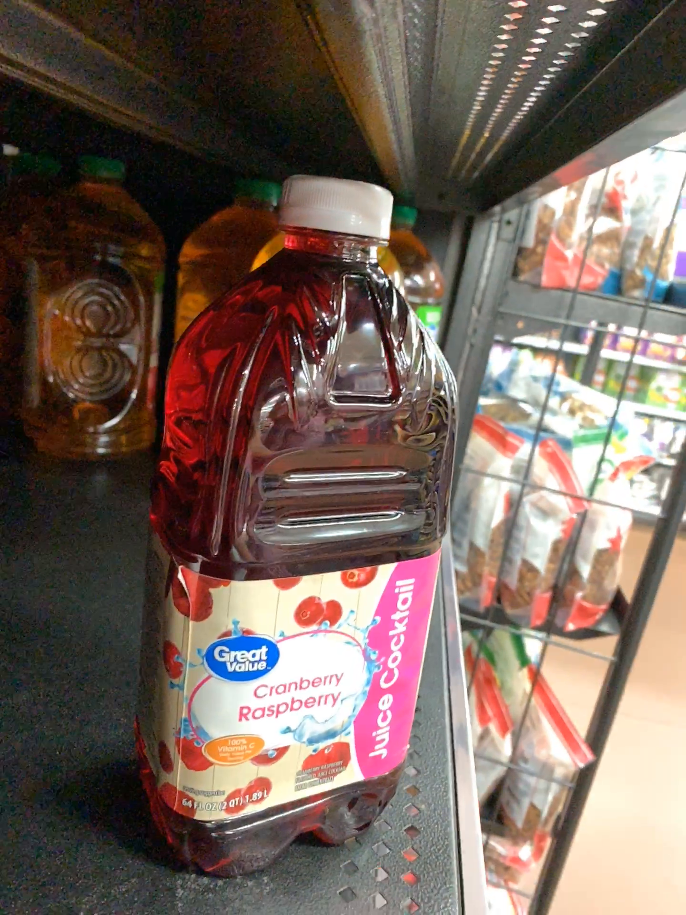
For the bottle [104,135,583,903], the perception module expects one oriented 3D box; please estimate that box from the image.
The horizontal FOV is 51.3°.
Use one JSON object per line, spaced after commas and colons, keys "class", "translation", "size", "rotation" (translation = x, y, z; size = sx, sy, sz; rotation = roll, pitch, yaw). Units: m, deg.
{"class": "bottle", "translation": [-0.015, 0.021, 0.295], "size": [0.125, 0.259, 0.100], "rotation": [0, 19, -31]}
